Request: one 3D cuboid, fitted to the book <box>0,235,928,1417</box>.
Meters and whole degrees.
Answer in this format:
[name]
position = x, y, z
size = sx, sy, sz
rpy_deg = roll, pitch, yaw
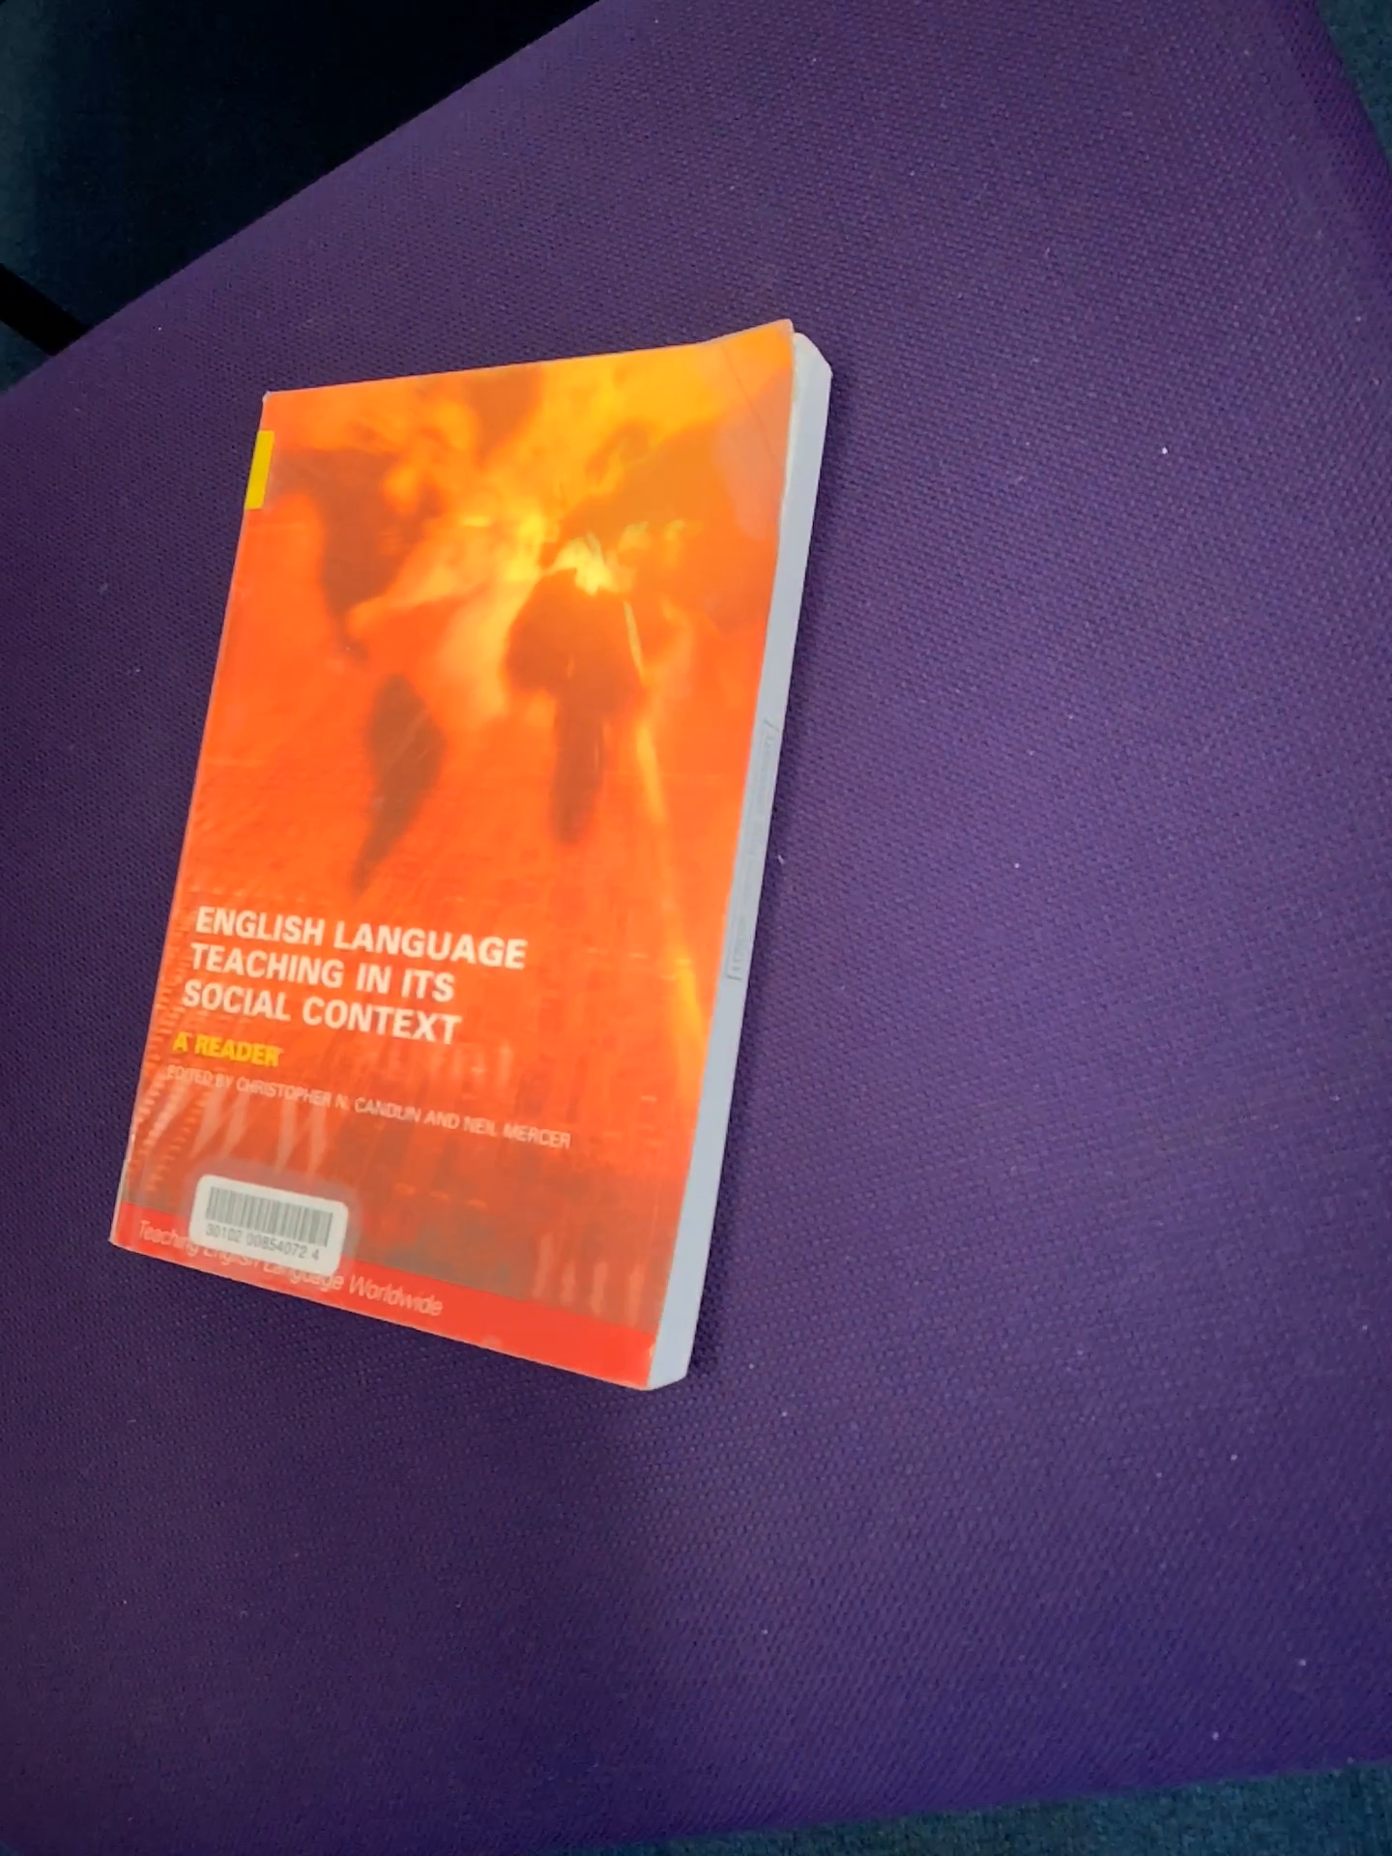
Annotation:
[book]
position = -0.068, -0.034, 0.386
size = 0.221, 0.050, 0.270
rpy_deg = 5, 80, 28
